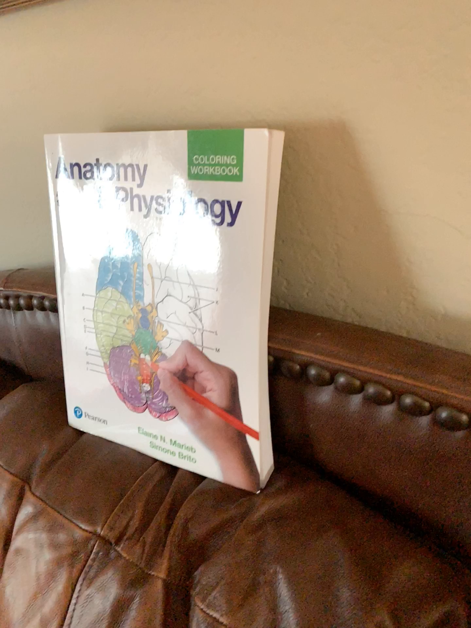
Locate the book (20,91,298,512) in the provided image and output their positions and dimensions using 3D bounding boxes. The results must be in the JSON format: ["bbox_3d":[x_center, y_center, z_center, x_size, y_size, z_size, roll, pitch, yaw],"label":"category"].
[{"bbox_3d":[-0.066,-0.014,0.404,0.221,0.289,0.060,9,18,30],"label":"book"}]
